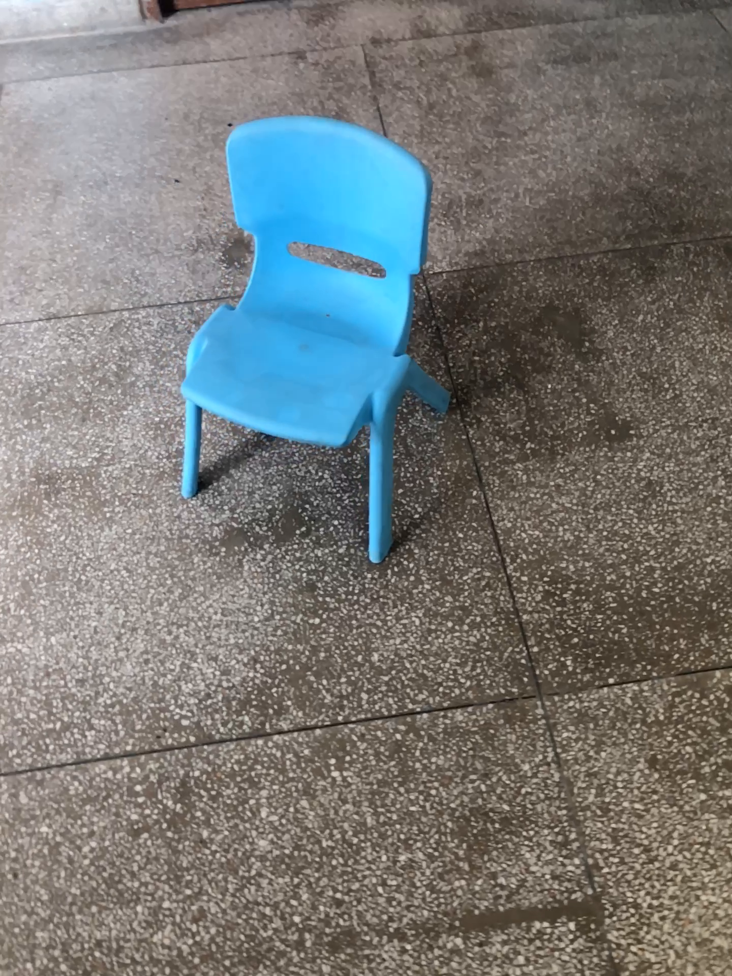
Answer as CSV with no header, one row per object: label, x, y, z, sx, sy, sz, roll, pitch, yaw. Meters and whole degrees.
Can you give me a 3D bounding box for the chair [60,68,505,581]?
chair,-0.071,-0.211,1.143,0.380,0.499,0.391,18,59,15
